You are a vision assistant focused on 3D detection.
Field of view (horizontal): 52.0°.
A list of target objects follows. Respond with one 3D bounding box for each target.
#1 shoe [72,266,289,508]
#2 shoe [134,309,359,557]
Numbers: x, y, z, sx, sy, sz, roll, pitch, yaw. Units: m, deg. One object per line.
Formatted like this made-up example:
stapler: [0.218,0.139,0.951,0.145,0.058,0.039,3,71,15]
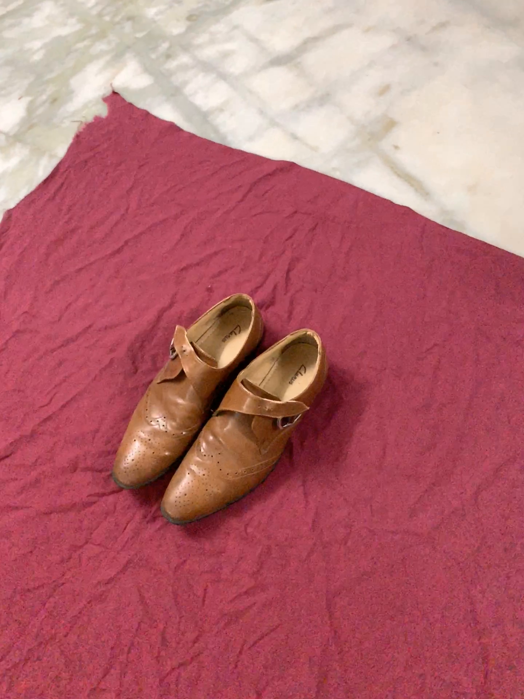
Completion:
shoe: [-0.092,0.043,0.703,0.100,0.090,0.301,32,69,16]
shoe: [-0.010,0.102,0.699,0.100,0.090,0.311,36,70,17]
